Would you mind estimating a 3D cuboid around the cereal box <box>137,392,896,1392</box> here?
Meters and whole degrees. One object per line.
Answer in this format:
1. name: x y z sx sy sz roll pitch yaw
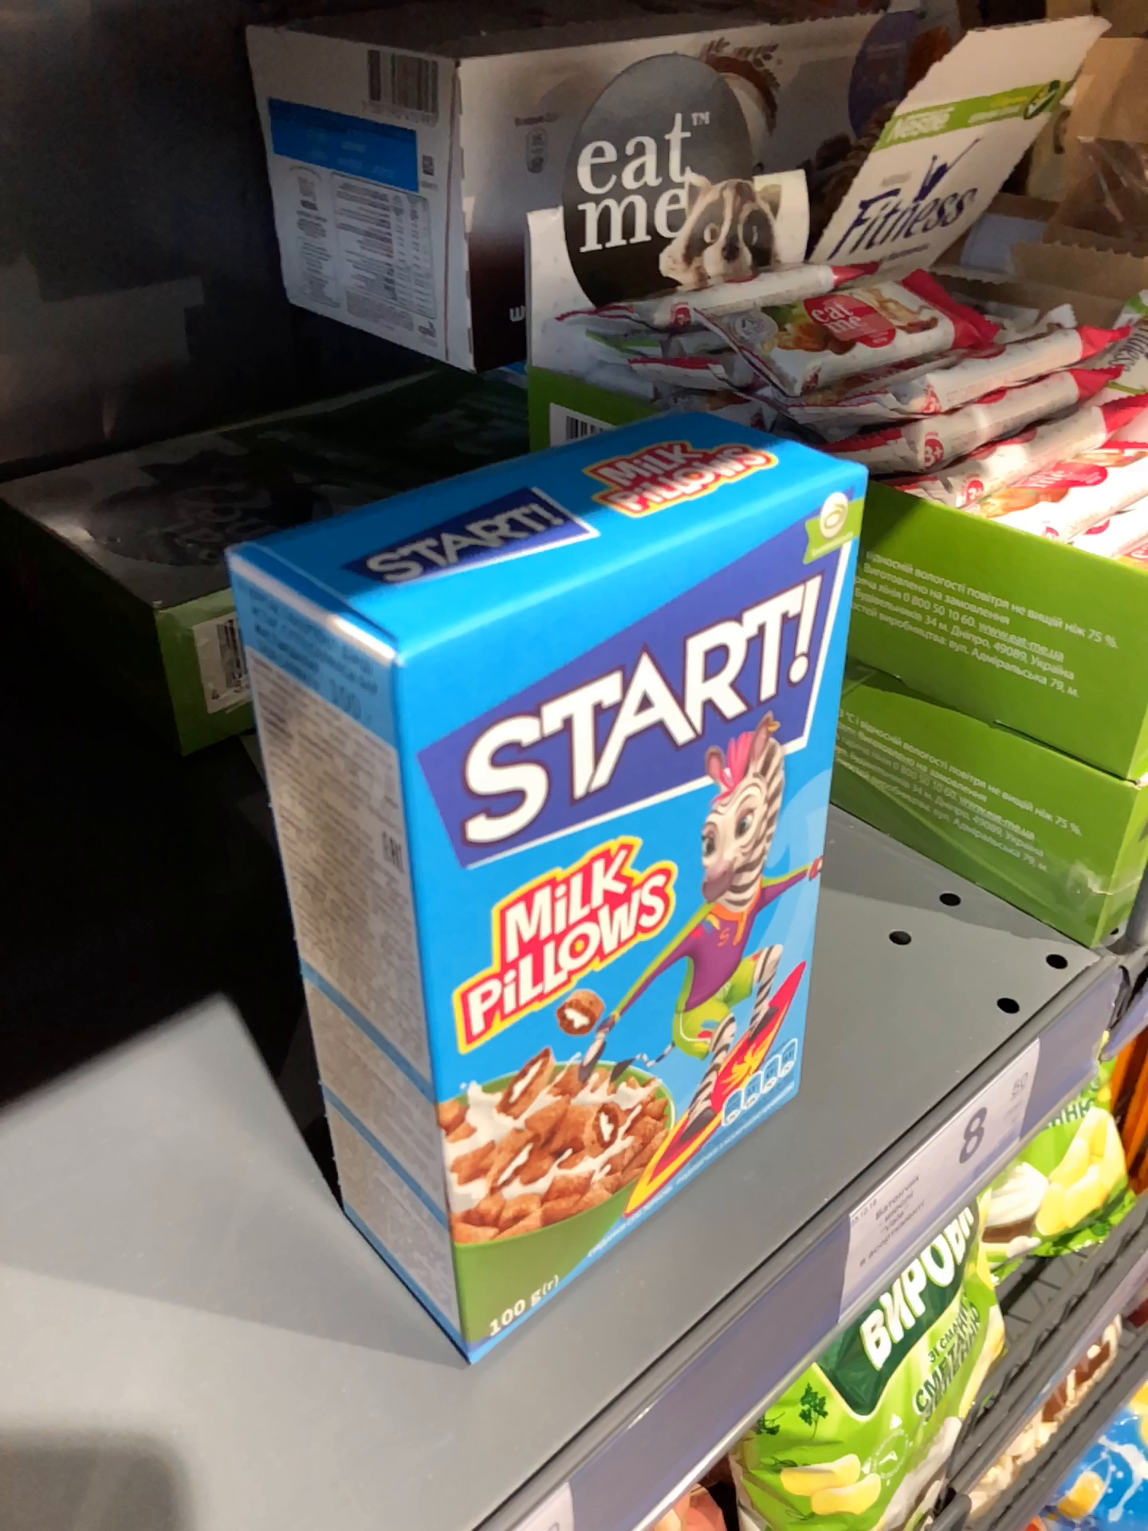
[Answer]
1. cereal box: -0.006 0.024 0.276 0.121 0.169 0.070 -26 40 -33
